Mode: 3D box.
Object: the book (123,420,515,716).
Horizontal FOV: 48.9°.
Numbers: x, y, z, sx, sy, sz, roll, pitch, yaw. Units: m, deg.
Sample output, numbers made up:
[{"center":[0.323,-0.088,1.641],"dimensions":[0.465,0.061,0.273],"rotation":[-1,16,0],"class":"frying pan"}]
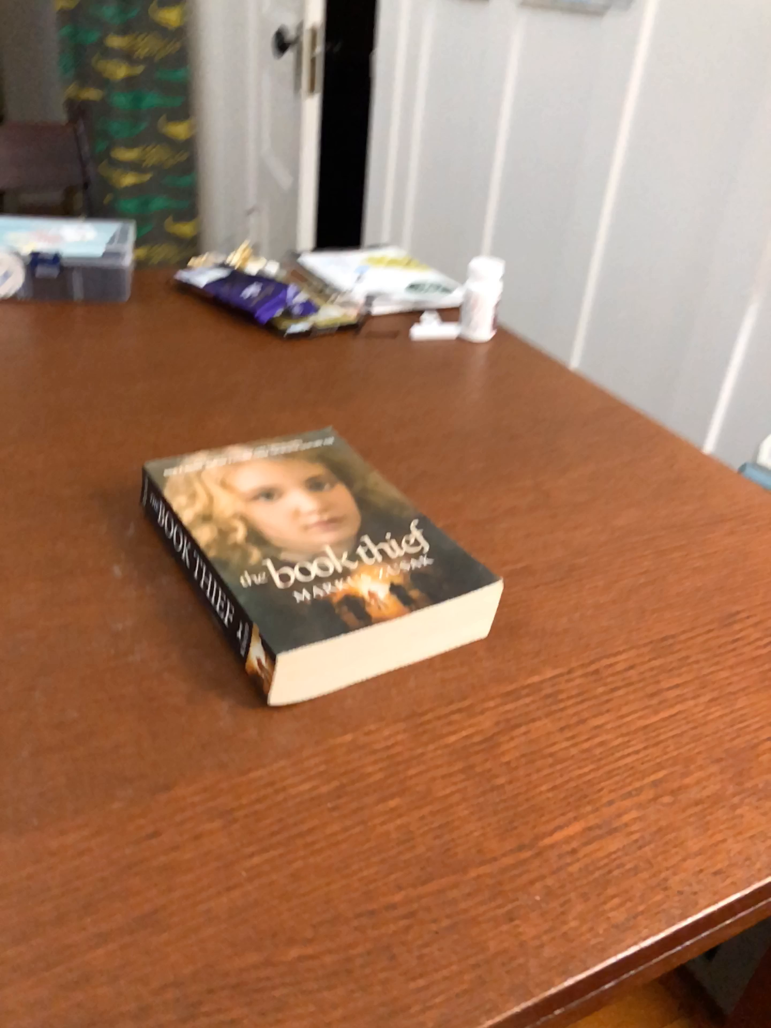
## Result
[{"center":[-0.051,0.015,0.515],"dimensions":[0.150,0.030,0.221],"rotation":[-14,37,-28],"class":"book"}]
